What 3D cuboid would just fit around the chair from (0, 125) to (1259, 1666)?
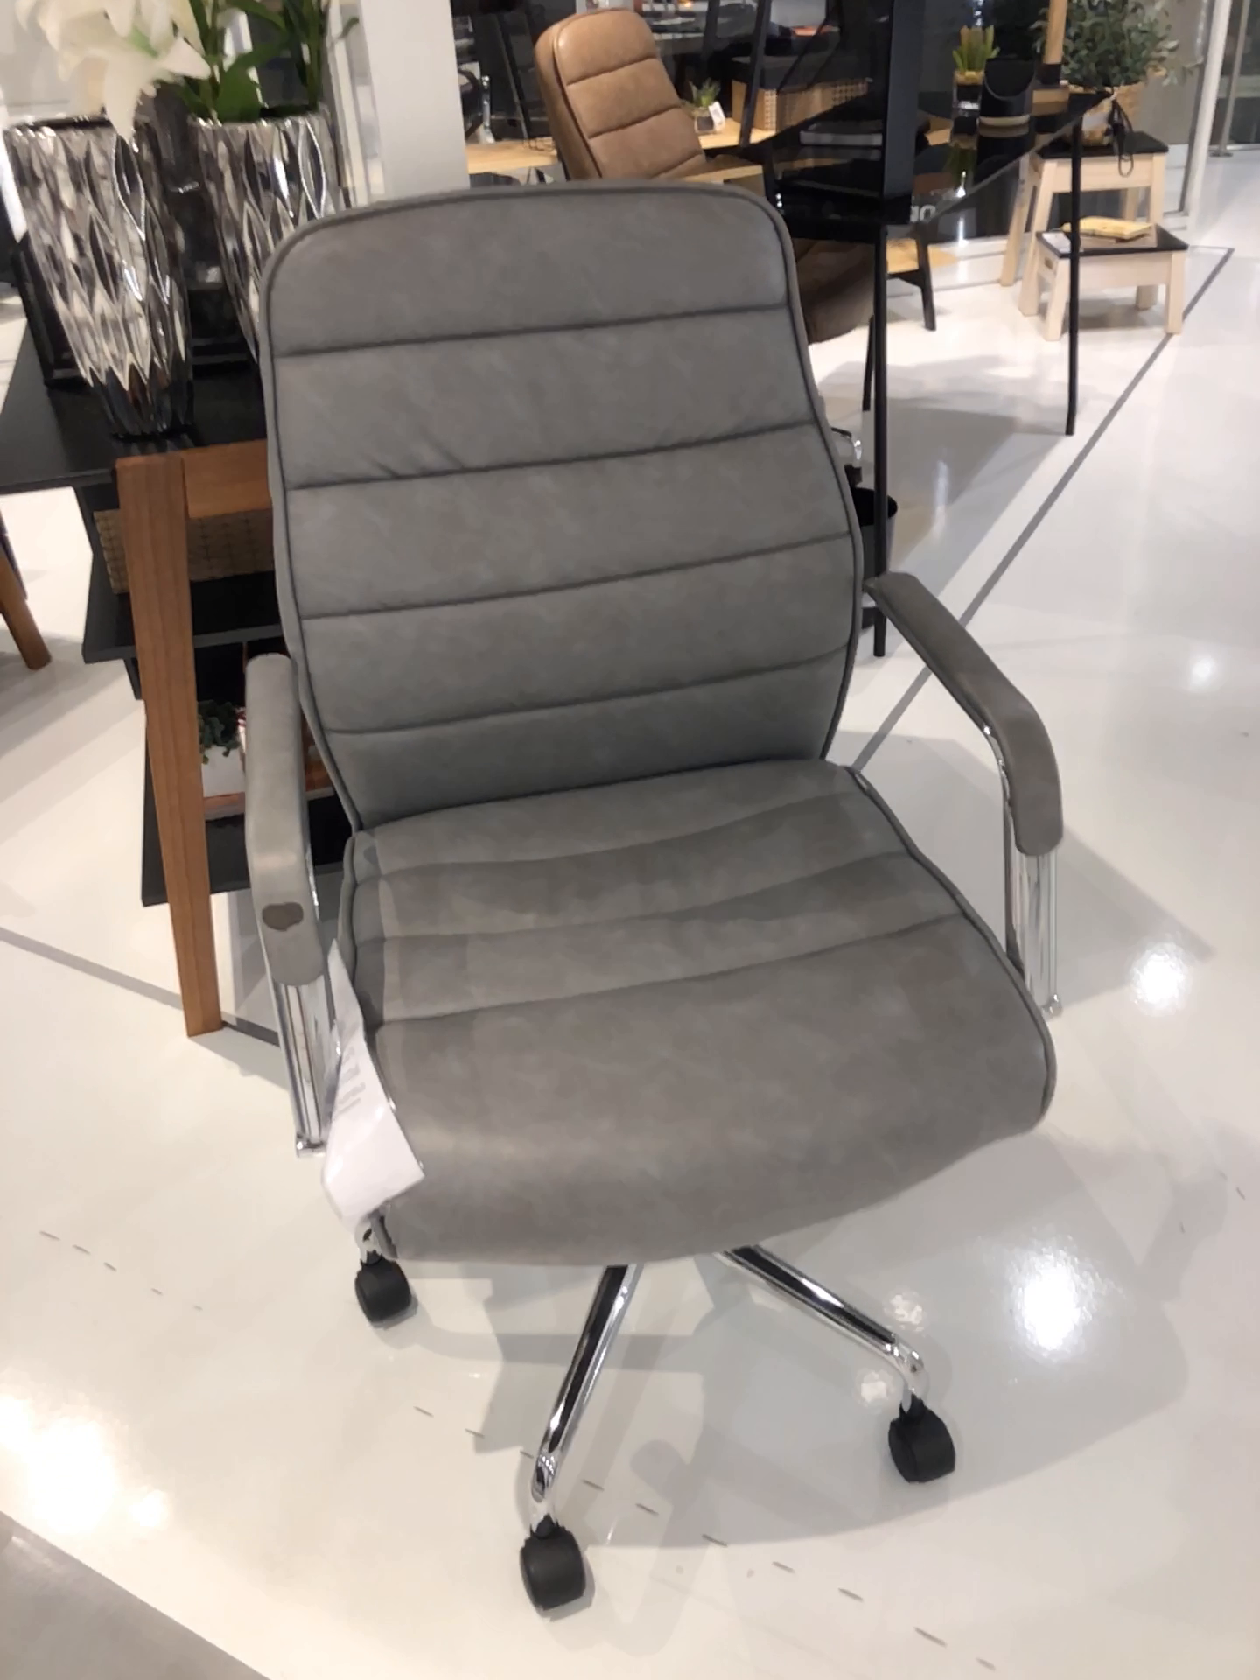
[{"bbox_3d":[0.011,0.056,1.085,0.600,0.992,0.554,-8,35,-7],"label":"chair"}]
